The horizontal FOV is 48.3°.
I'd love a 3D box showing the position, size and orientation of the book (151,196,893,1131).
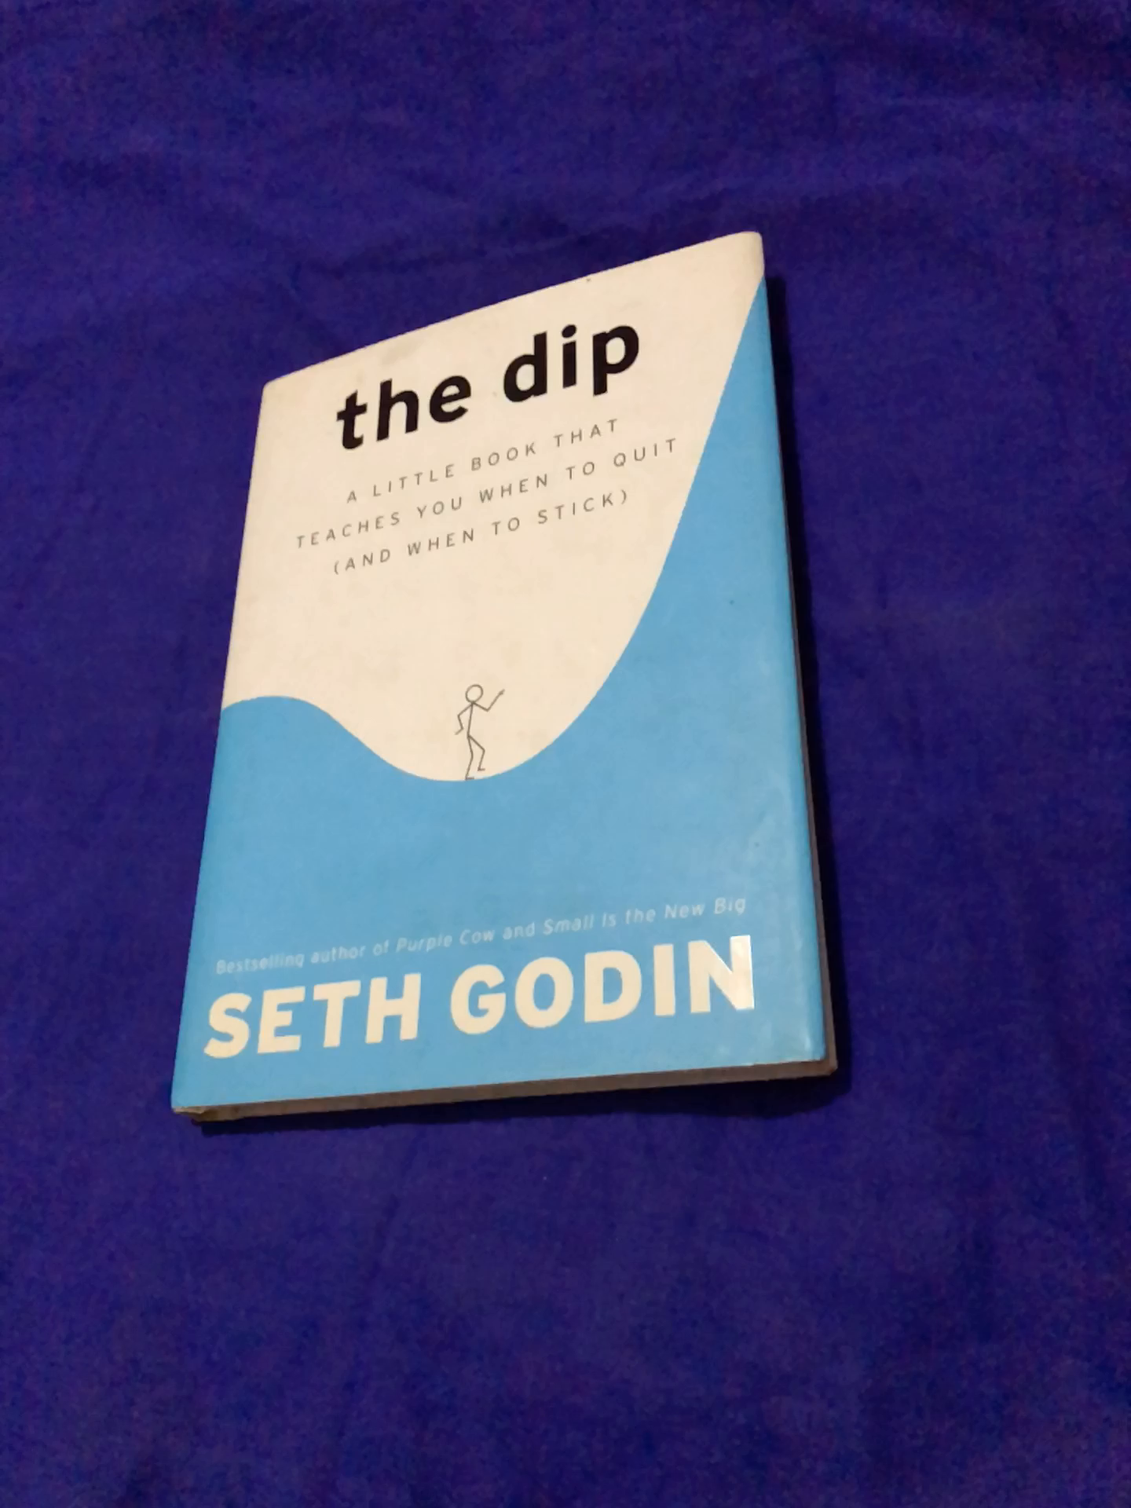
[{"bbox_3d":[-0.013,-0.023,0.272,0.140,0.020,0.190,-10,63,20],"label":"book"}]
